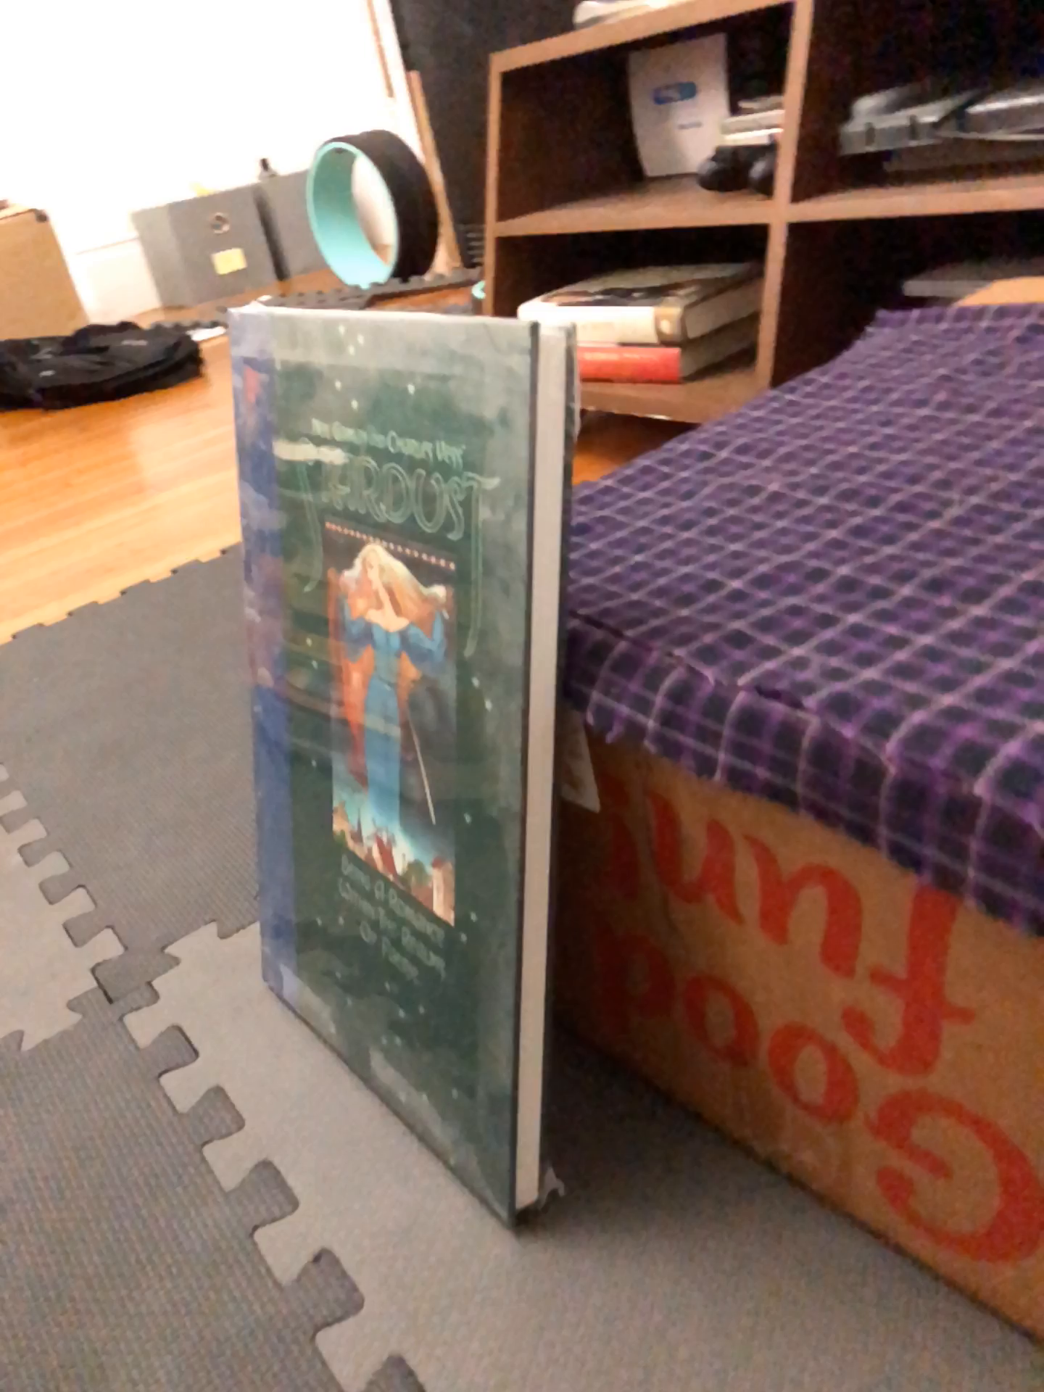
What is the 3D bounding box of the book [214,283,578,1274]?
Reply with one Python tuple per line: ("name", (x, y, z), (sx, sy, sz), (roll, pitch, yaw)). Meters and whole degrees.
("book", (-0.058, 0.018, 0.442), (0.020, 0.329, 0.211), (-11, 21, -35))
